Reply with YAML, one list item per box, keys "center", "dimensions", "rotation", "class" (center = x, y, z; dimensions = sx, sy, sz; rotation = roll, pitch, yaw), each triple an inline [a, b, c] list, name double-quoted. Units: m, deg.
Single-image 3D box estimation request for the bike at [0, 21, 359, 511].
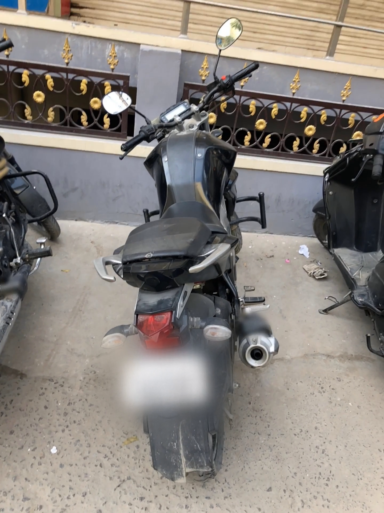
- center: [-0.159, -0.216, 1.805]
  dimensions: [0.692, 1.197, 1.766]
  rotation: [6, 31, -6]
  class: "bike"
